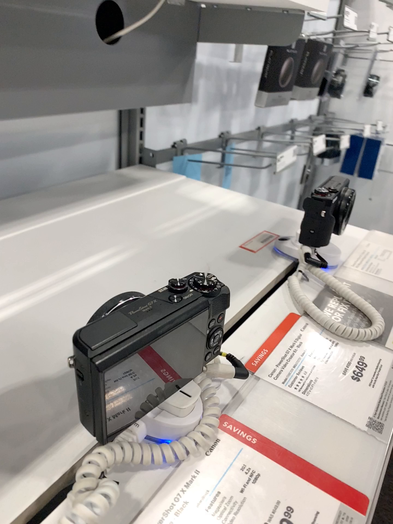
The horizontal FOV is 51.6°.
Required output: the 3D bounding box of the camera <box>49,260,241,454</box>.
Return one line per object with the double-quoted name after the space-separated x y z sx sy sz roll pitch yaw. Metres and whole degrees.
-0.026 0.049 0.248 0.044 0.060 0.110 26 33 33 "camera"
